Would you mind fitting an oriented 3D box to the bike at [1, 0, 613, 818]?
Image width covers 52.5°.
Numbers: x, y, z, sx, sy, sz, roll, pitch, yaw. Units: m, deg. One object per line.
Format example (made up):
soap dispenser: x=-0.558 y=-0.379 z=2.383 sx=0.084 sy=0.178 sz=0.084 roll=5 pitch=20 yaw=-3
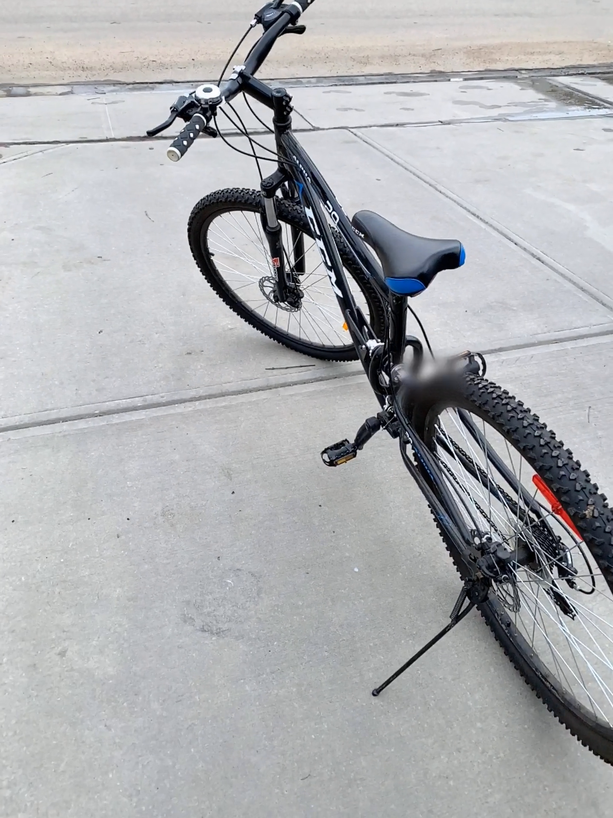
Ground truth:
bike: x=0.016 y=-0.135 z=1.326 sx=0.628 sy=1.173 sz=1.796 roll=-19 pitch=45 yaw=-23
